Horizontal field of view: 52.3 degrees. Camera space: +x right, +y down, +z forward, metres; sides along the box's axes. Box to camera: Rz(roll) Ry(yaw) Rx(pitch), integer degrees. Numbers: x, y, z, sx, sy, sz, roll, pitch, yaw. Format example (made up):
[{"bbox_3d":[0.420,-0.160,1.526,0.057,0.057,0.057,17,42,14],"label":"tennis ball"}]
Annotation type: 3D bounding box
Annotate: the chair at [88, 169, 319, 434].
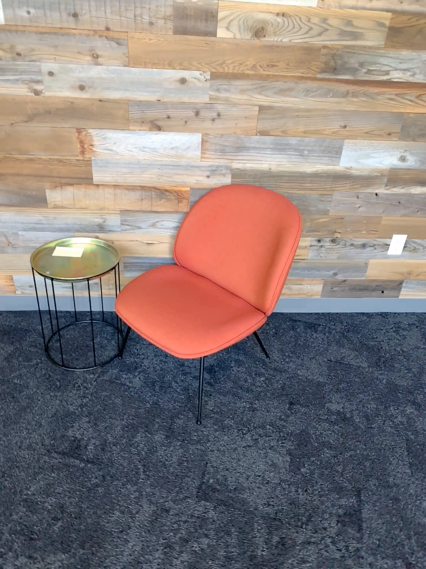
[{"bbox_3d":[-0.034,0.016,1.881,0.572,0.755,0.712,26,39,32],"label":"chair"}]
